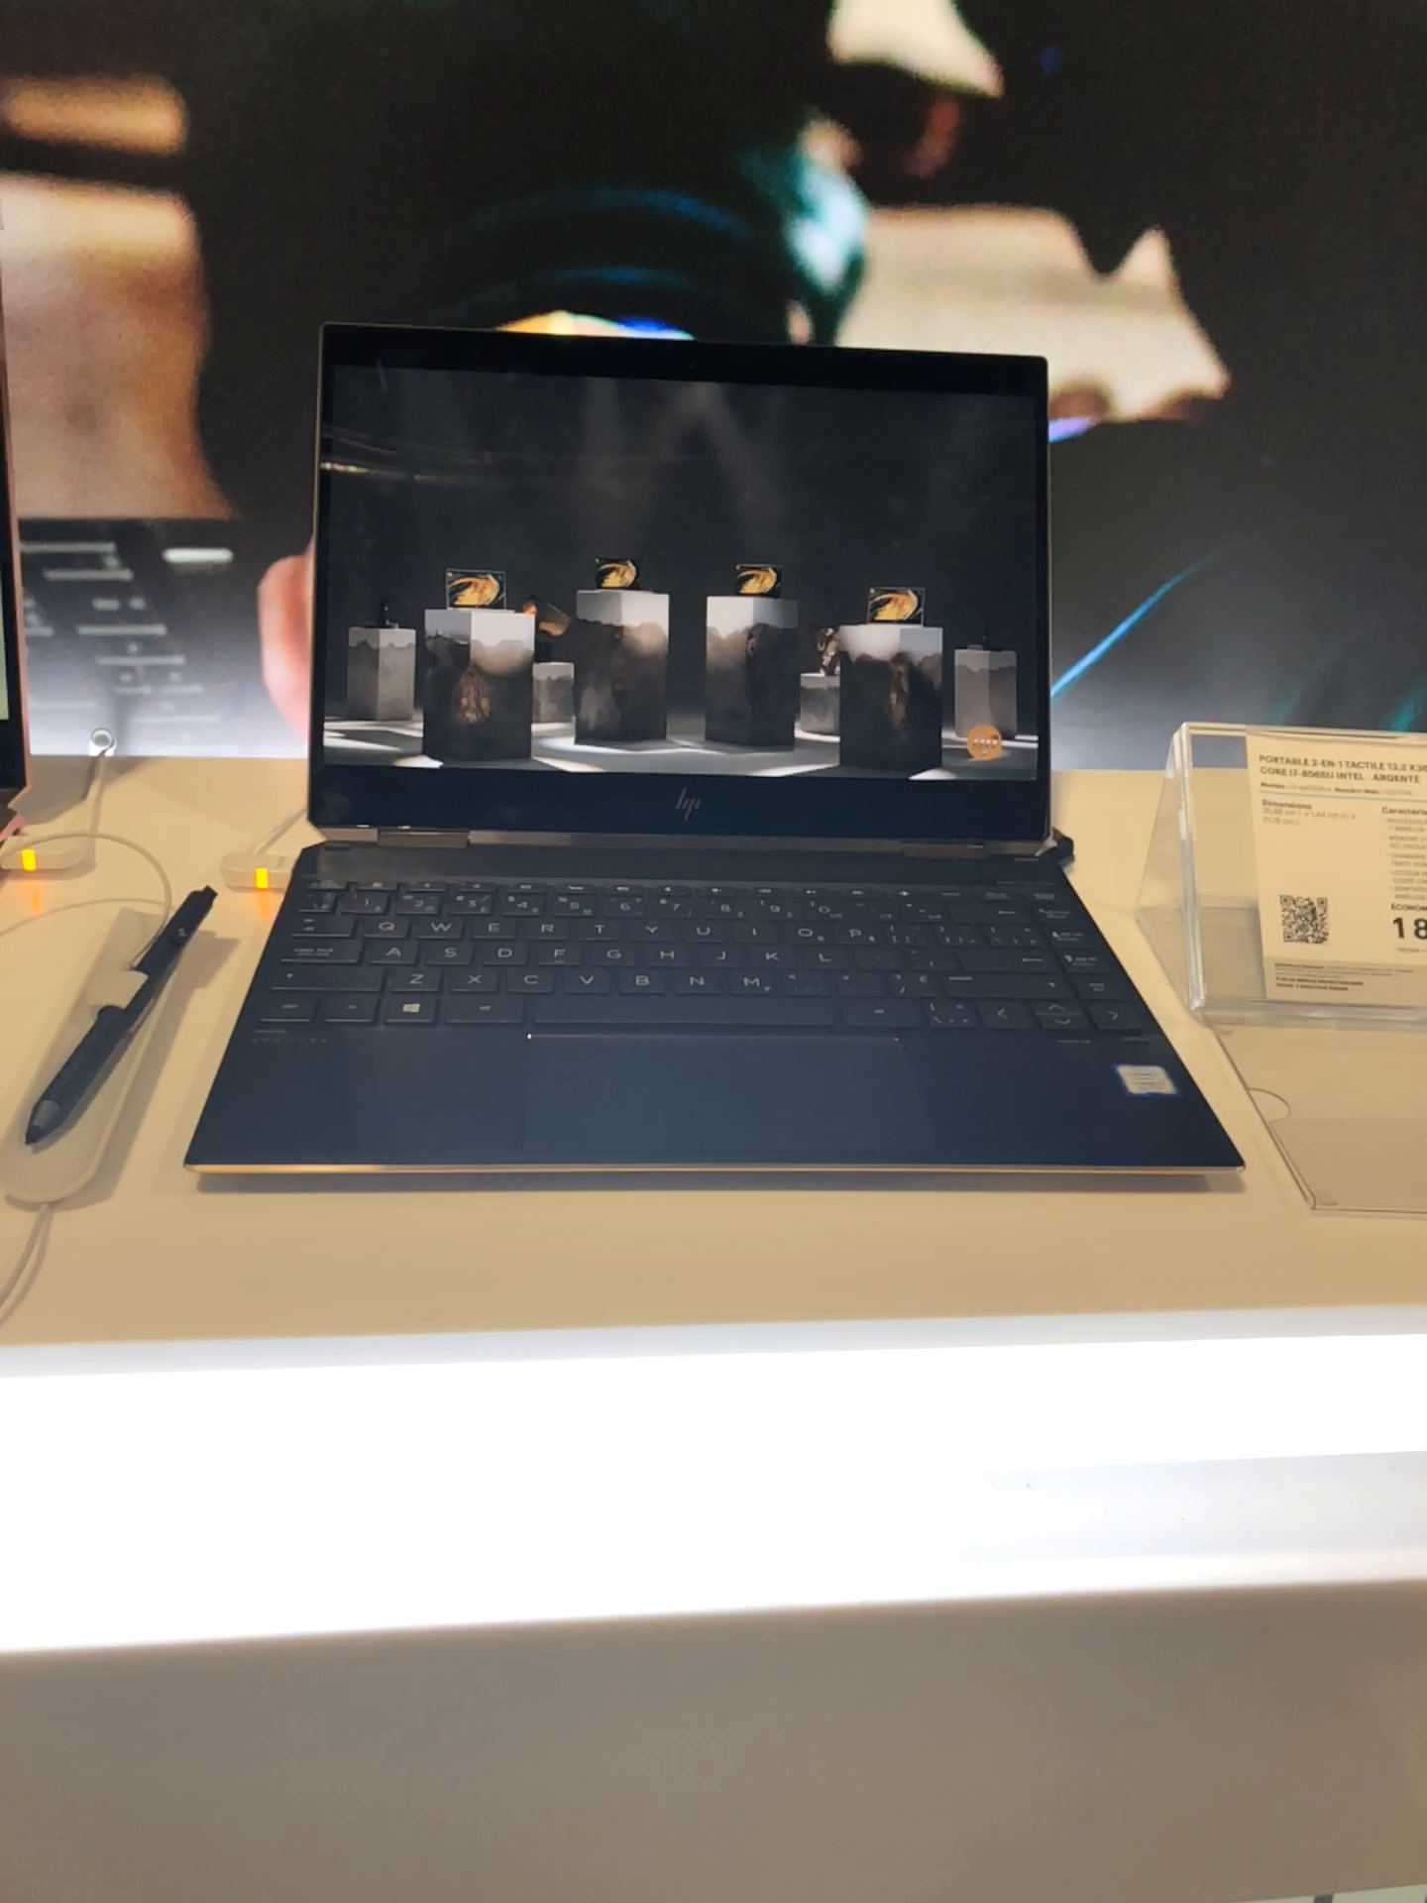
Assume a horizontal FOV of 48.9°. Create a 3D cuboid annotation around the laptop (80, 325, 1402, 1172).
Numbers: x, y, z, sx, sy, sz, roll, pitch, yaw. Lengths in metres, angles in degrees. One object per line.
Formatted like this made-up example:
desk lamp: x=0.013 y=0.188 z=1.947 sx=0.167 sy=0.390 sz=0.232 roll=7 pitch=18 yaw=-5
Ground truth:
laptop: x=-0.003 y=-0.099 z=0.552 sx=0.305 sy=0.172 sz=0.347 roll=1 pitch=29 yaw=-5
